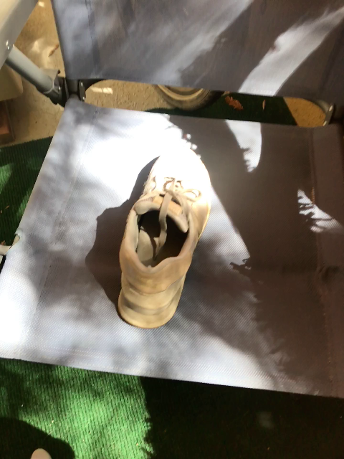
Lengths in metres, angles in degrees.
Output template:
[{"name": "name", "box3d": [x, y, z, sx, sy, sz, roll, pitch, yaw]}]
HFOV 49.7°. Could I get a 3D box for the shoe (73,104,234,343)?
[{"name": "shoe", "box3d": [-0.011, -0.011, 0.504, 0.124, 0.104, 0.287, 13, 70, 7]}]
